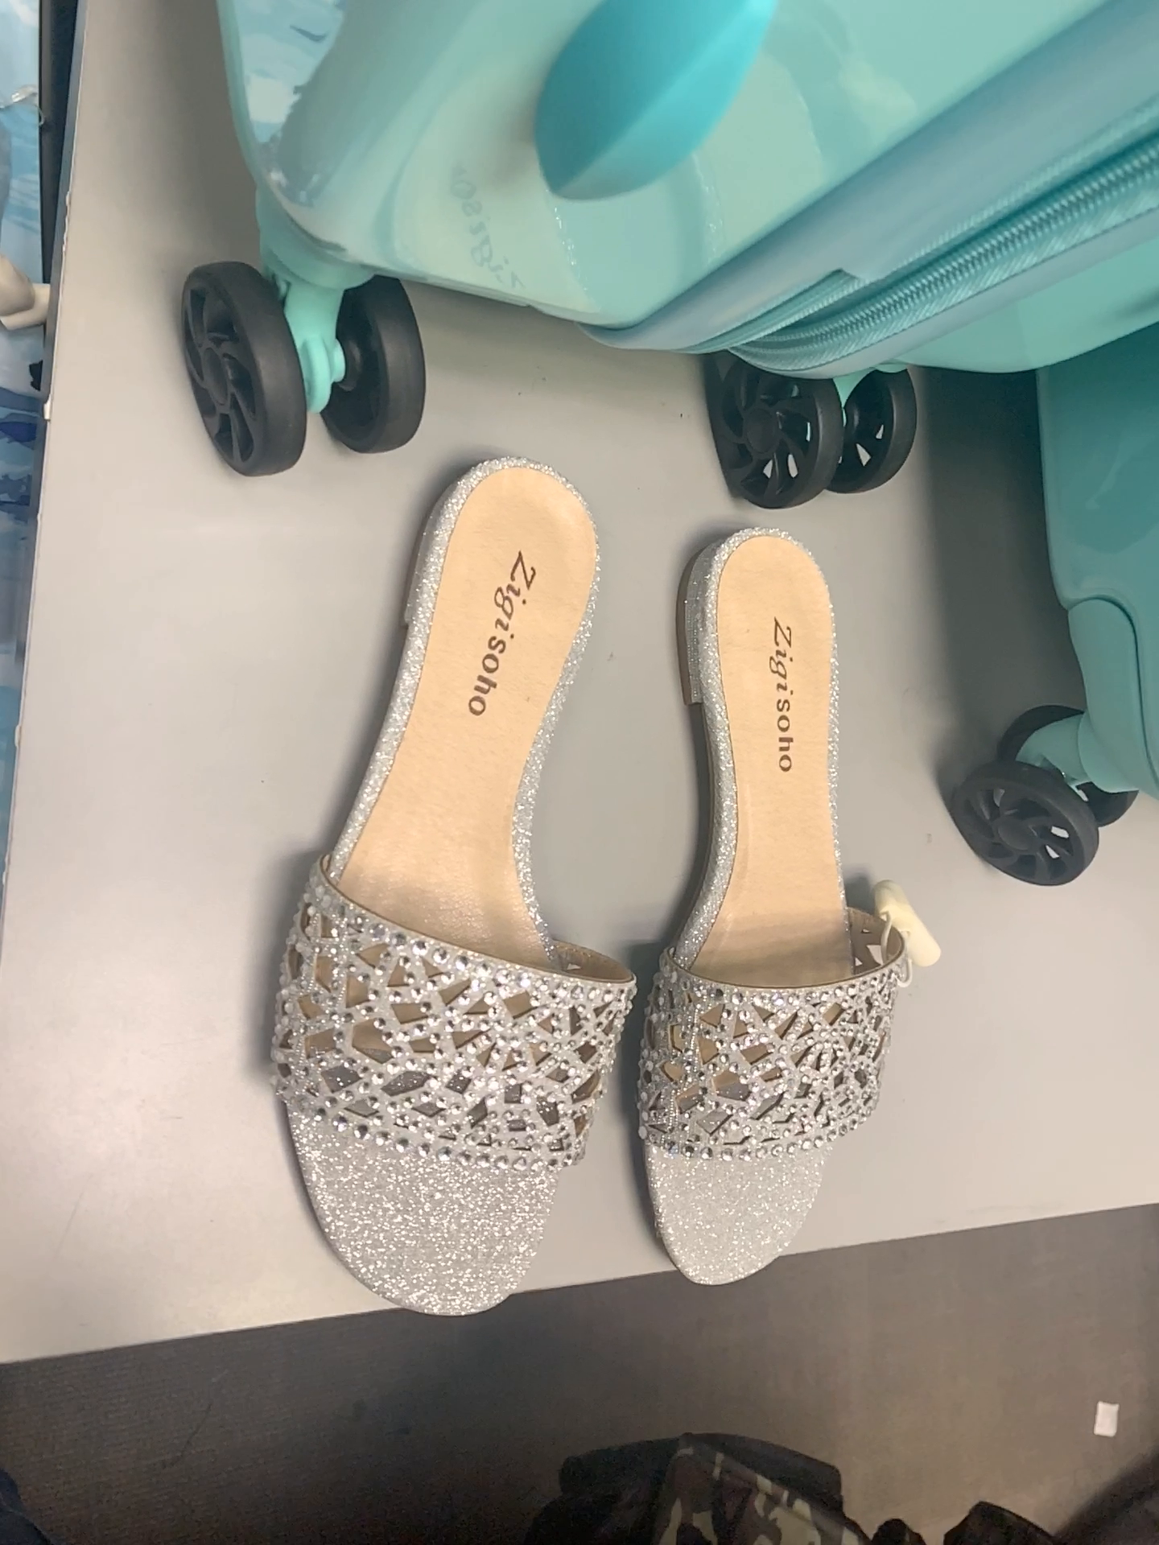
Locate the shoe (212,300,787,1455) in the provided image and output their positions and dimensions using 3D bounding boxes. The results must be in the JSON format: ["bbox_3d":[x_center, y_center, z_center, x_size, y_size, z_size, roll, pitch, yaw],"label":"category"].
[{"bbox_3d":[-0.016,0.024,0.299,0.100,0.061,0.243,11,80,-29],"label":"shoe"}]

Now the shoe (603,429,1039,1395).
[{"bbox_3d":[0.073,0.037,0.349,0.099,0.061,0.242,8,82,-29],"label":"shoe"}]
